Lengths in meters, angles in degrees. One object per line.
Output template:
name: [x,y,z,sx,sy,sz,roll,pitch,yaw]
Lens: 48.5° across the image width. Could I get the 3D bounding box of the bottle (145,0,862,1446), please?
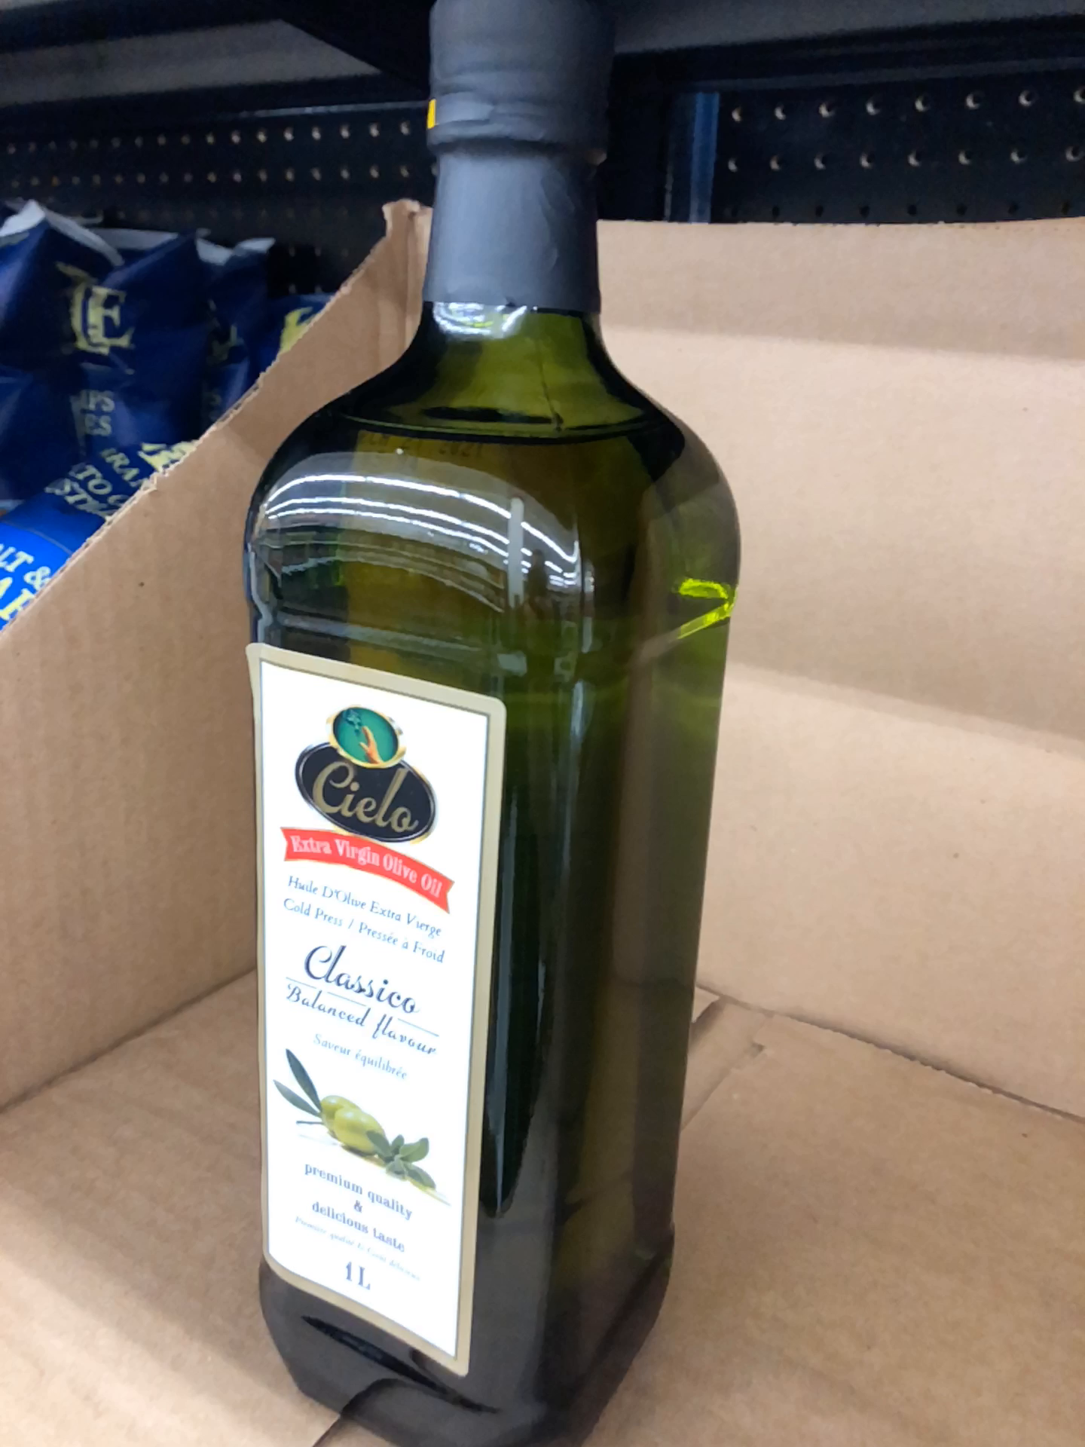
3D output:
bottle: [-0.007,0.010,0.247,0.090,0.288,0.080,12,22,28]
